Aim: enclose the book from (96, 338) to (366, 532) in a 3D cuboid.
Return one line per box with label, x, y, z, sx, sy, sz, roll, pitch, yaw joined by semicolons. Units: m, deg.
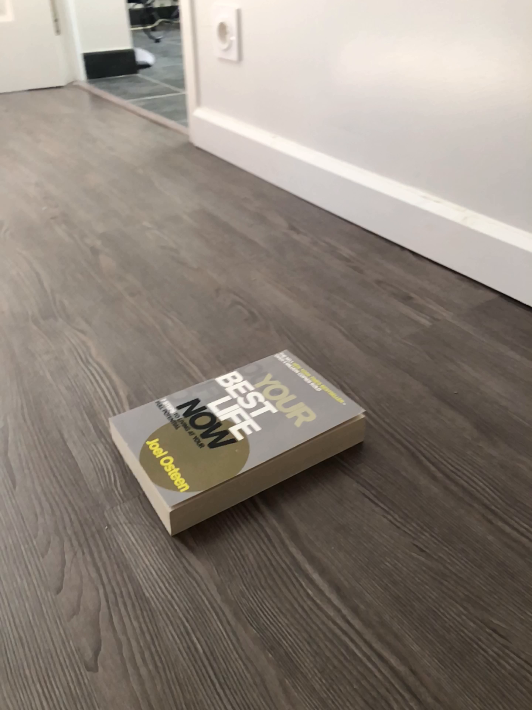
book;-0.032;0.059;0.534;0.202;0.030;0.136;-21;40;-26
